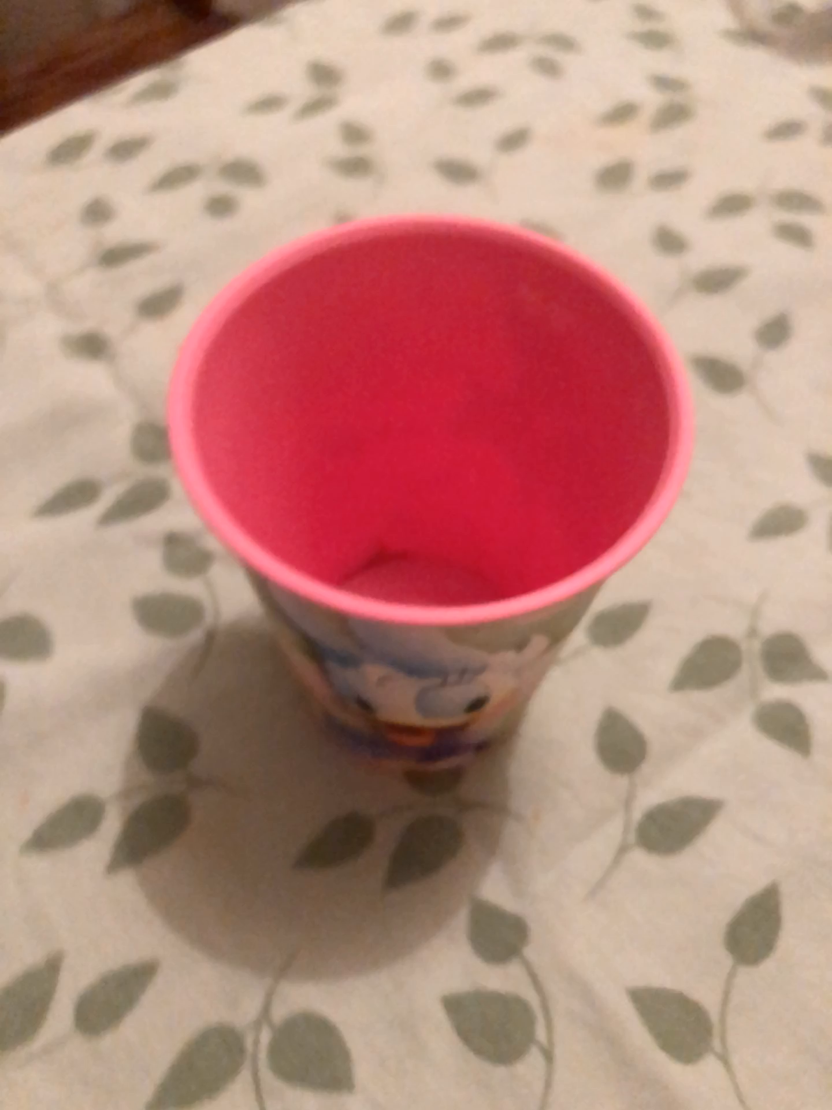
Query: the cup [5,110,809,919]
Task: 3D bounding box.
[{"bbox_3d":[0.004,-0.001,0.208,0.100,0.119,0.100,1,59,-1],"label":"cup"}]
